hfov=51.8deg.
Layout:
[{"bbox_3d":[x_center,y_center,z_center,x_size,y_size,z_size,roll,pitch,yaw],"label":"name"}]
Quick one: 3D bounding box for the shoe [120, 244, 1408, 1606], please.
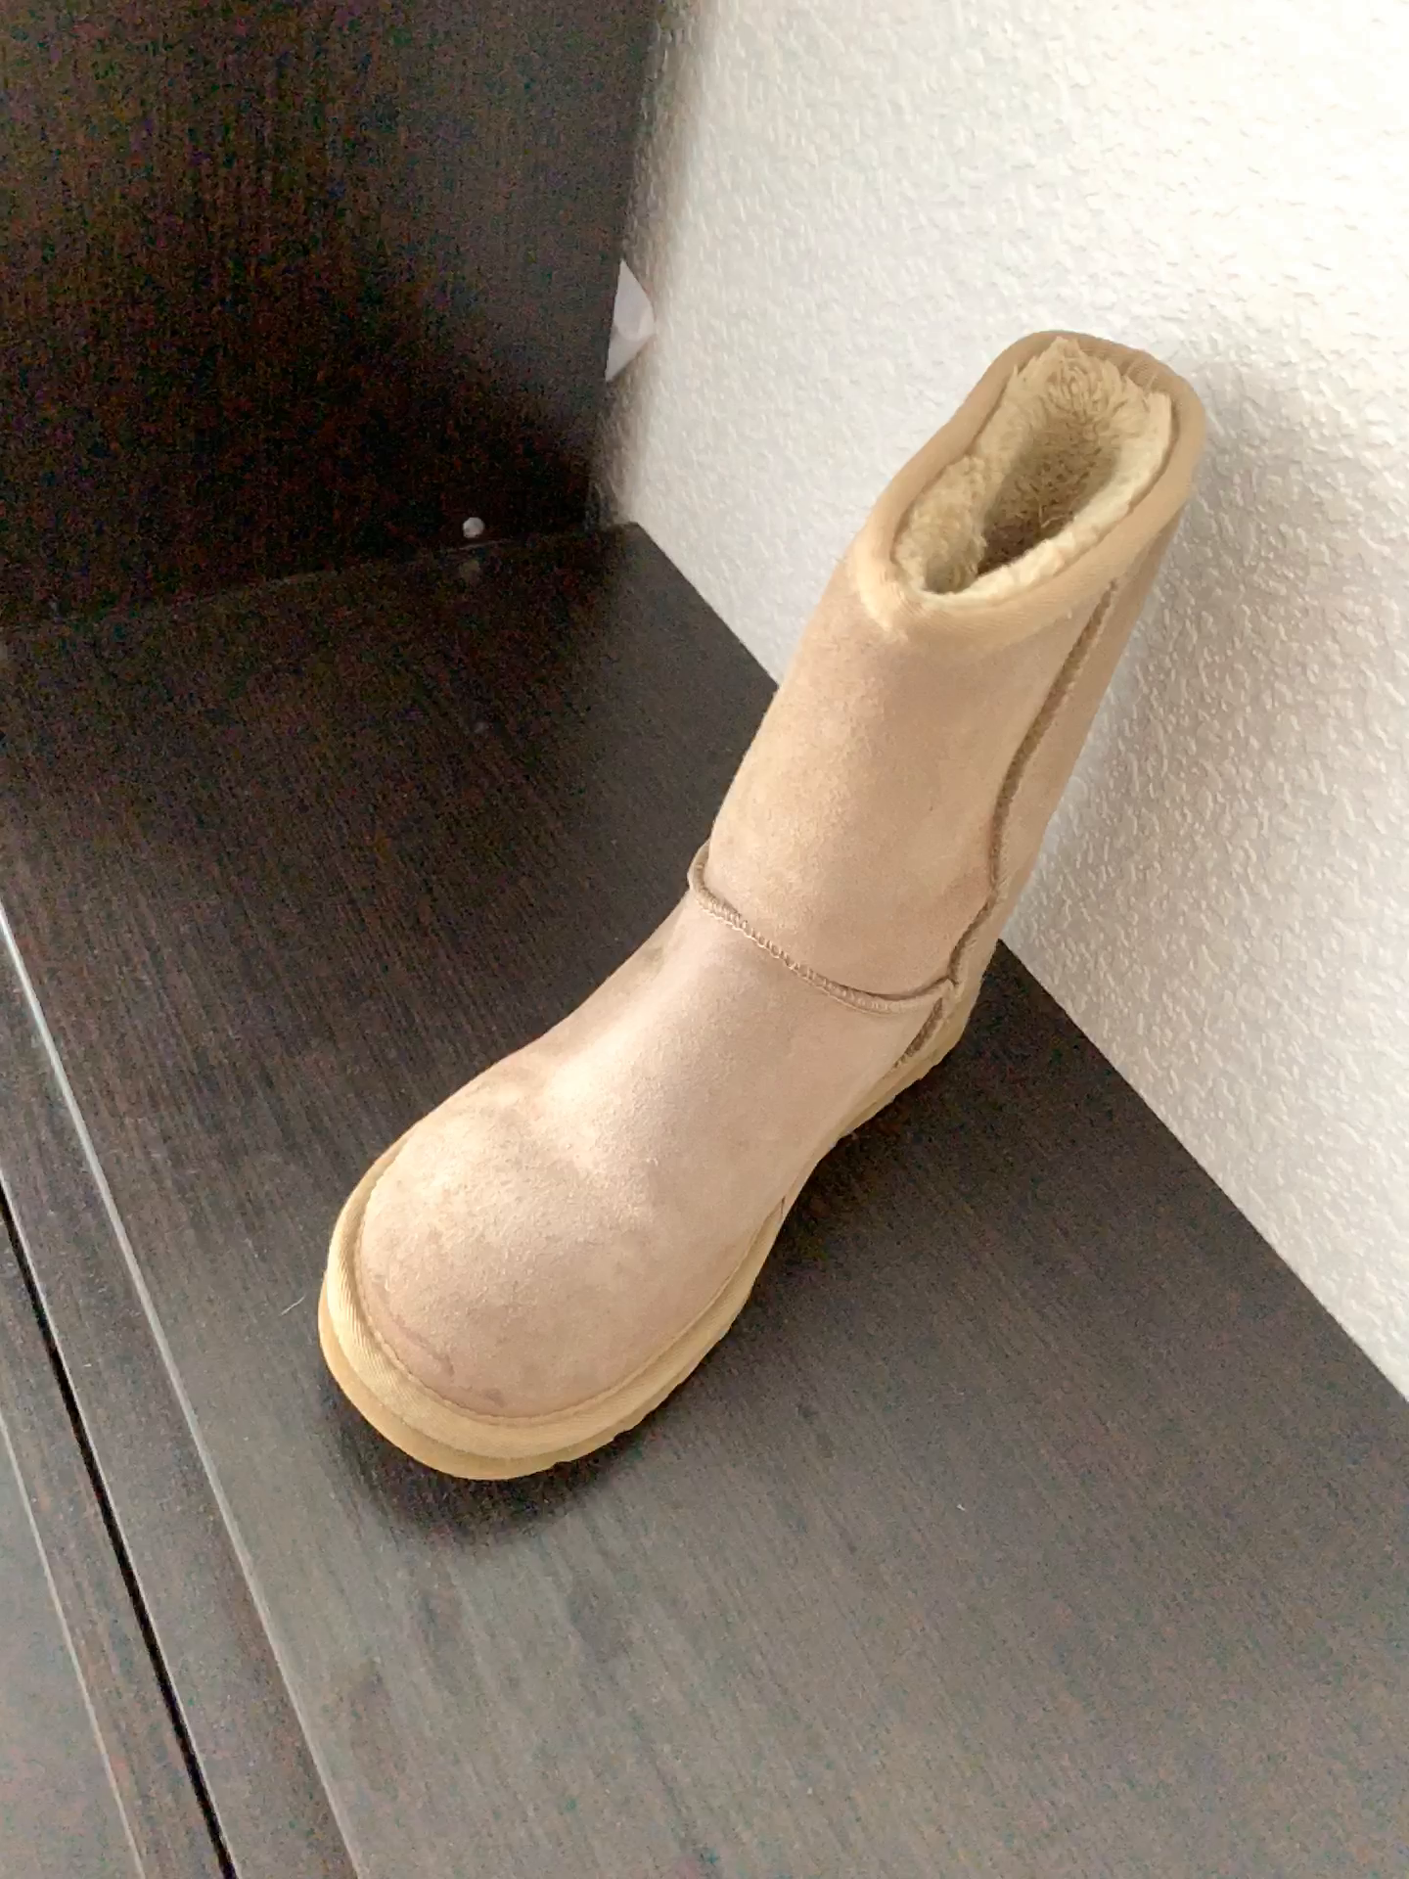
[{"bbox_3d":[0.017,-0.010,0.366,0.116,0.229,0.261,38,51,20],"label":"shoe"}]
